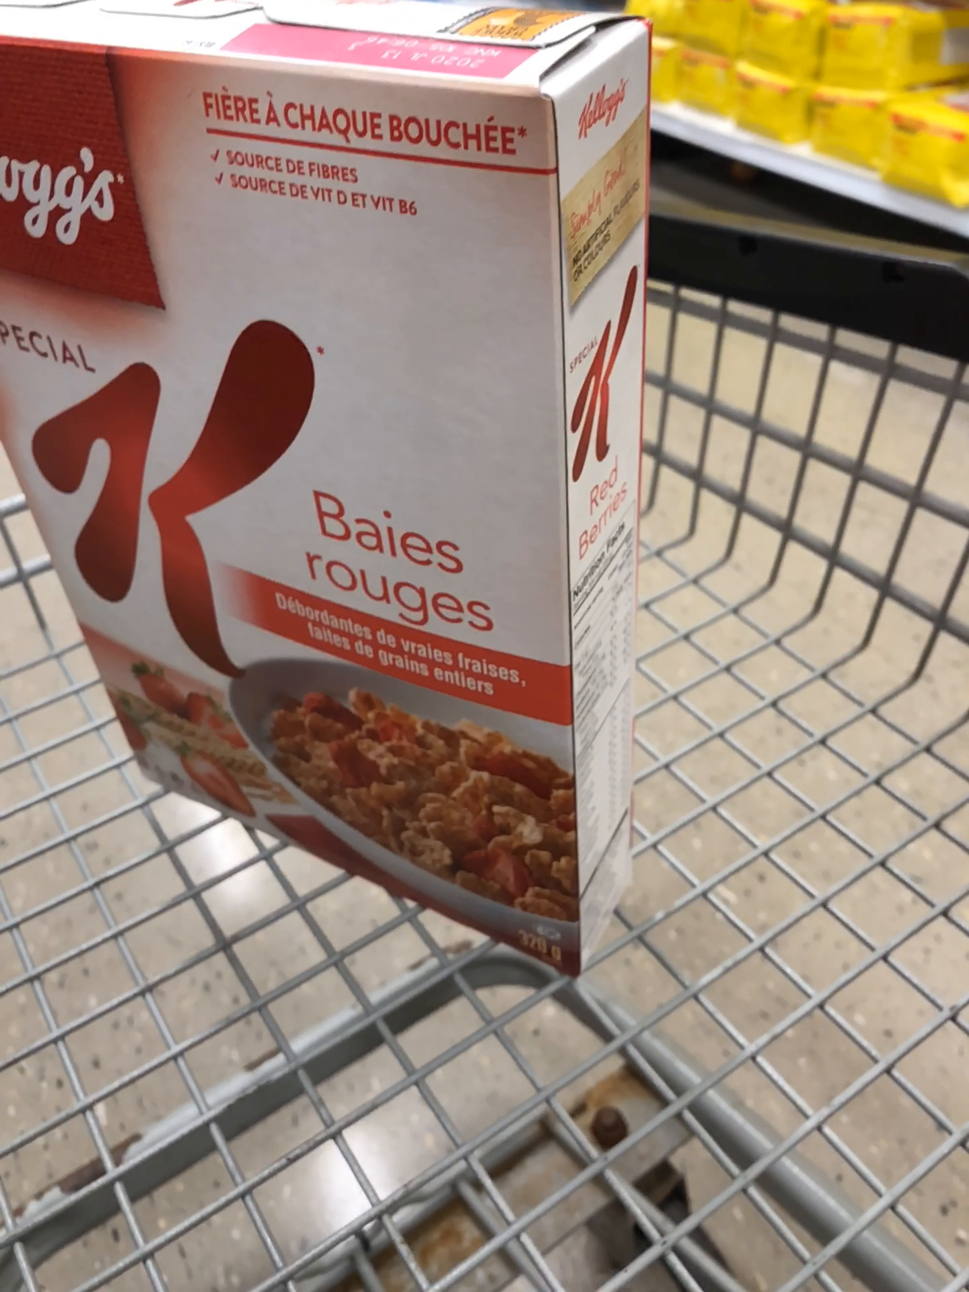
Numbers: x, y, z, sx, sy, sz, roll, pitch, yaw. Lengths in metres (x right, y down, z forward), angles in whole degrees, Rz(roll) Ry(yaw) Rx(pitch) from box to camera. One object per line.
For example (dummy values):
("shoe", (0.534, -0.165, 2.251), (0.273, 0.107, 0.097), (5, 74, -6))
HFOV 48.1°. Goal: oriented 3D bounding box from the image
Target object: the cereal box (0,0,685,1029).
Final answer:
("cereal box", (-0.059, -0.030, 0.312), (0.210, 0.269, 0.050), (19, 45, 25))
